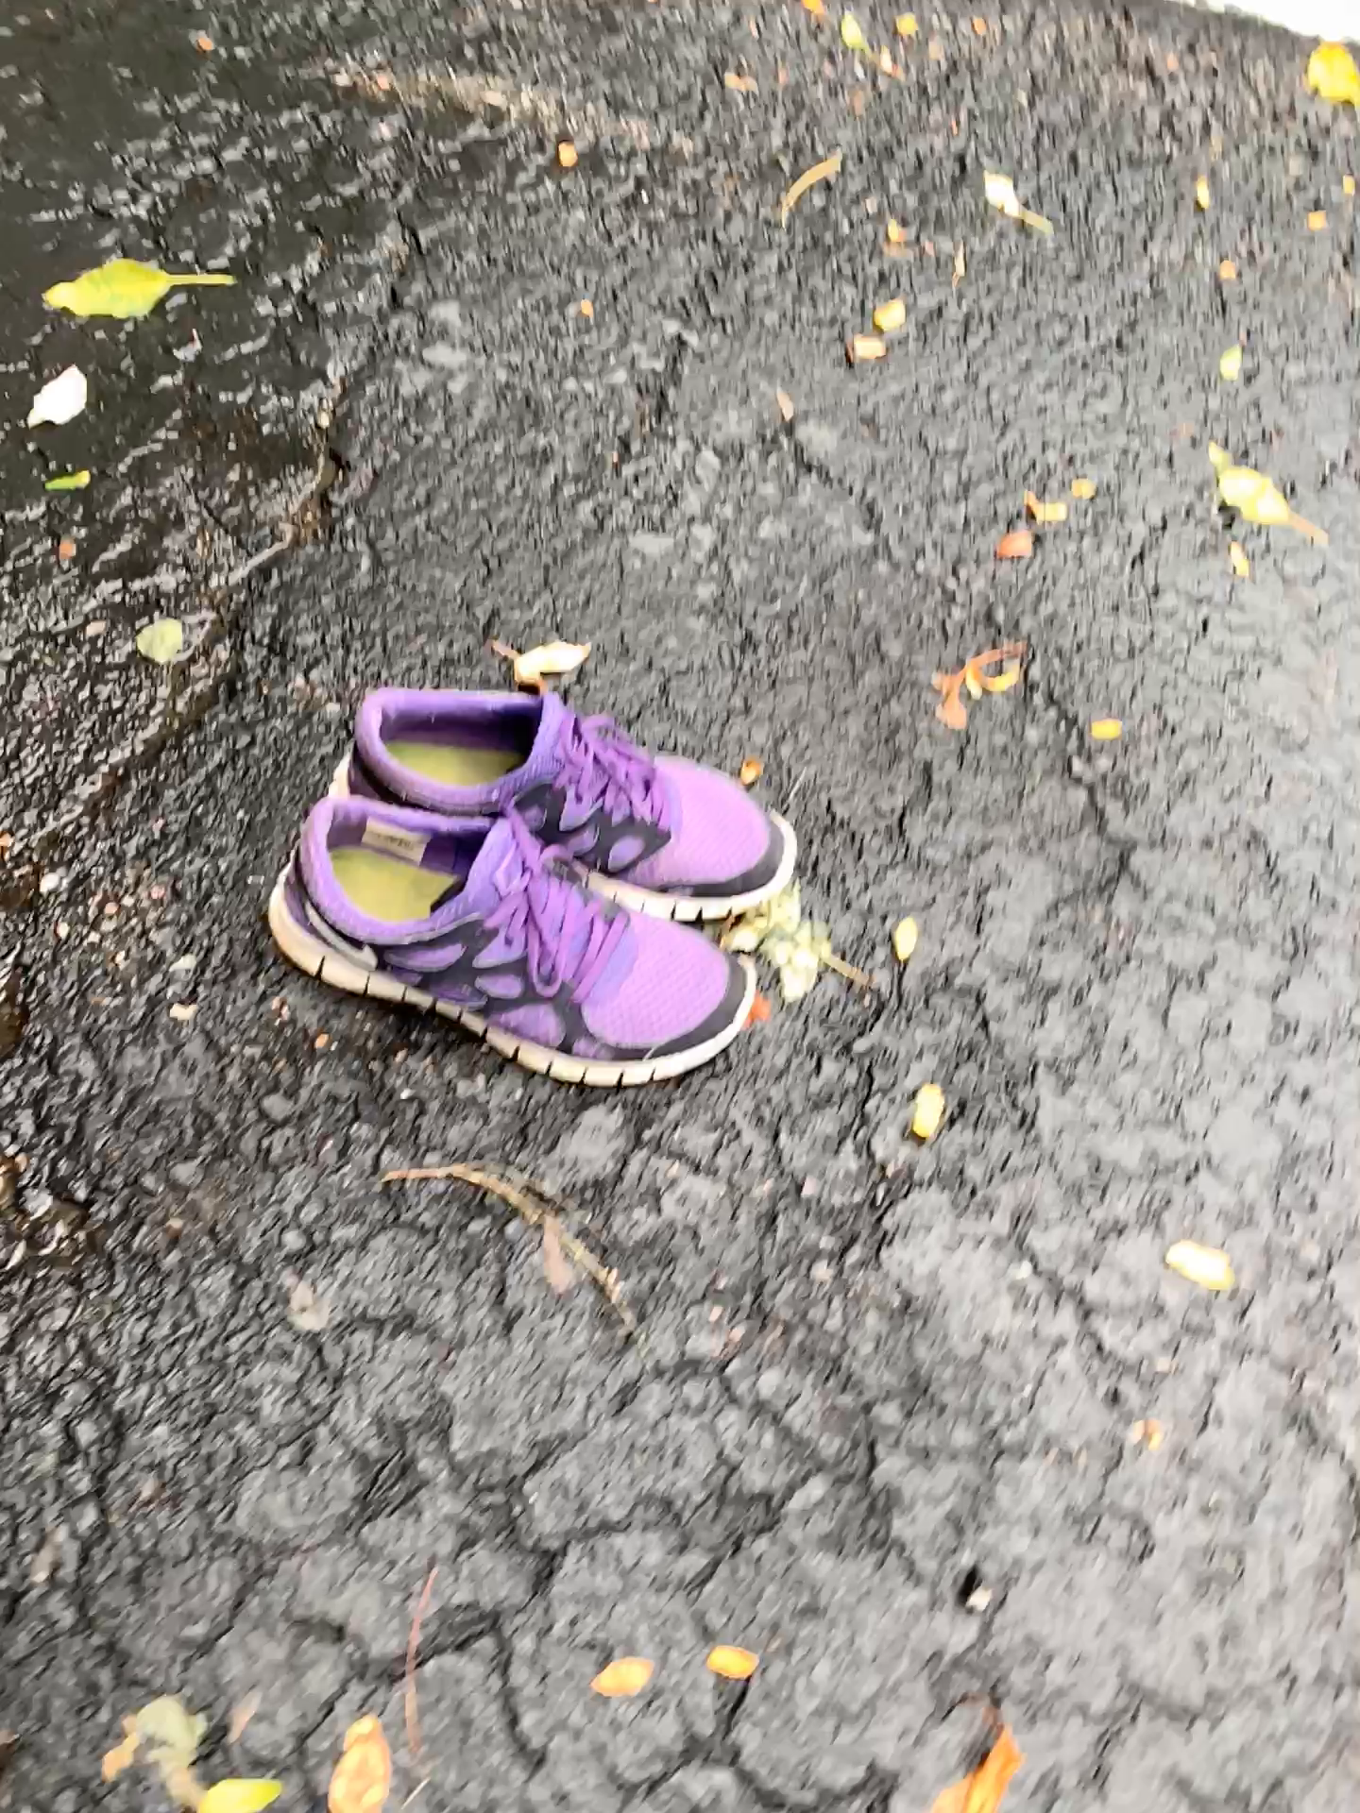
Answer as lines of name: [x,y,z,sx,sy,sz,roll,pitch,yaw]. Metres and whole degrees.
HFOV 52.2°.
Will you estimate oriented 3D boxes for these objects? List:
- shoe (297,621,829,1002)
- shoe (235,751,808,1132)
shoe: [-0.072,-0.055,0.870,0.300,0.100,0.110,19,57,-8]
shoe: [-0.090,0.023,0.807,0.300,0.090,0.110,17,57,-5]
